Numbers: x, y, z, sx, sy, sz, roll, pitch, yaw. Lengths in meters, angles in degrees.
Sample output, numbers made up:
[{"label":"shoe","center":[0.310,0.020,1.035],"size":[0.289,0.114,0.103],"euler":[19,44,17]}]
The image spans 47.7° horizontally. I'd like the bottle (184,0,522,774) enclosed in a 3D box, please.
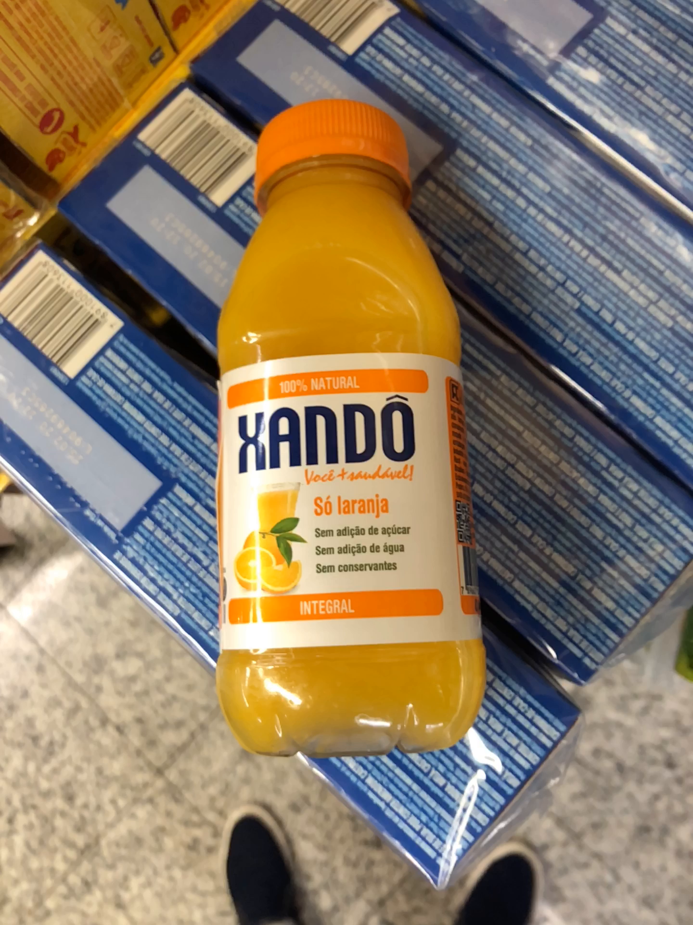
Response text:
[{"label":"bottle","center":[0.001,-0.021,0.200],"size":[0.060,0.080,0.170],"euler":[-4,81,4]}]
